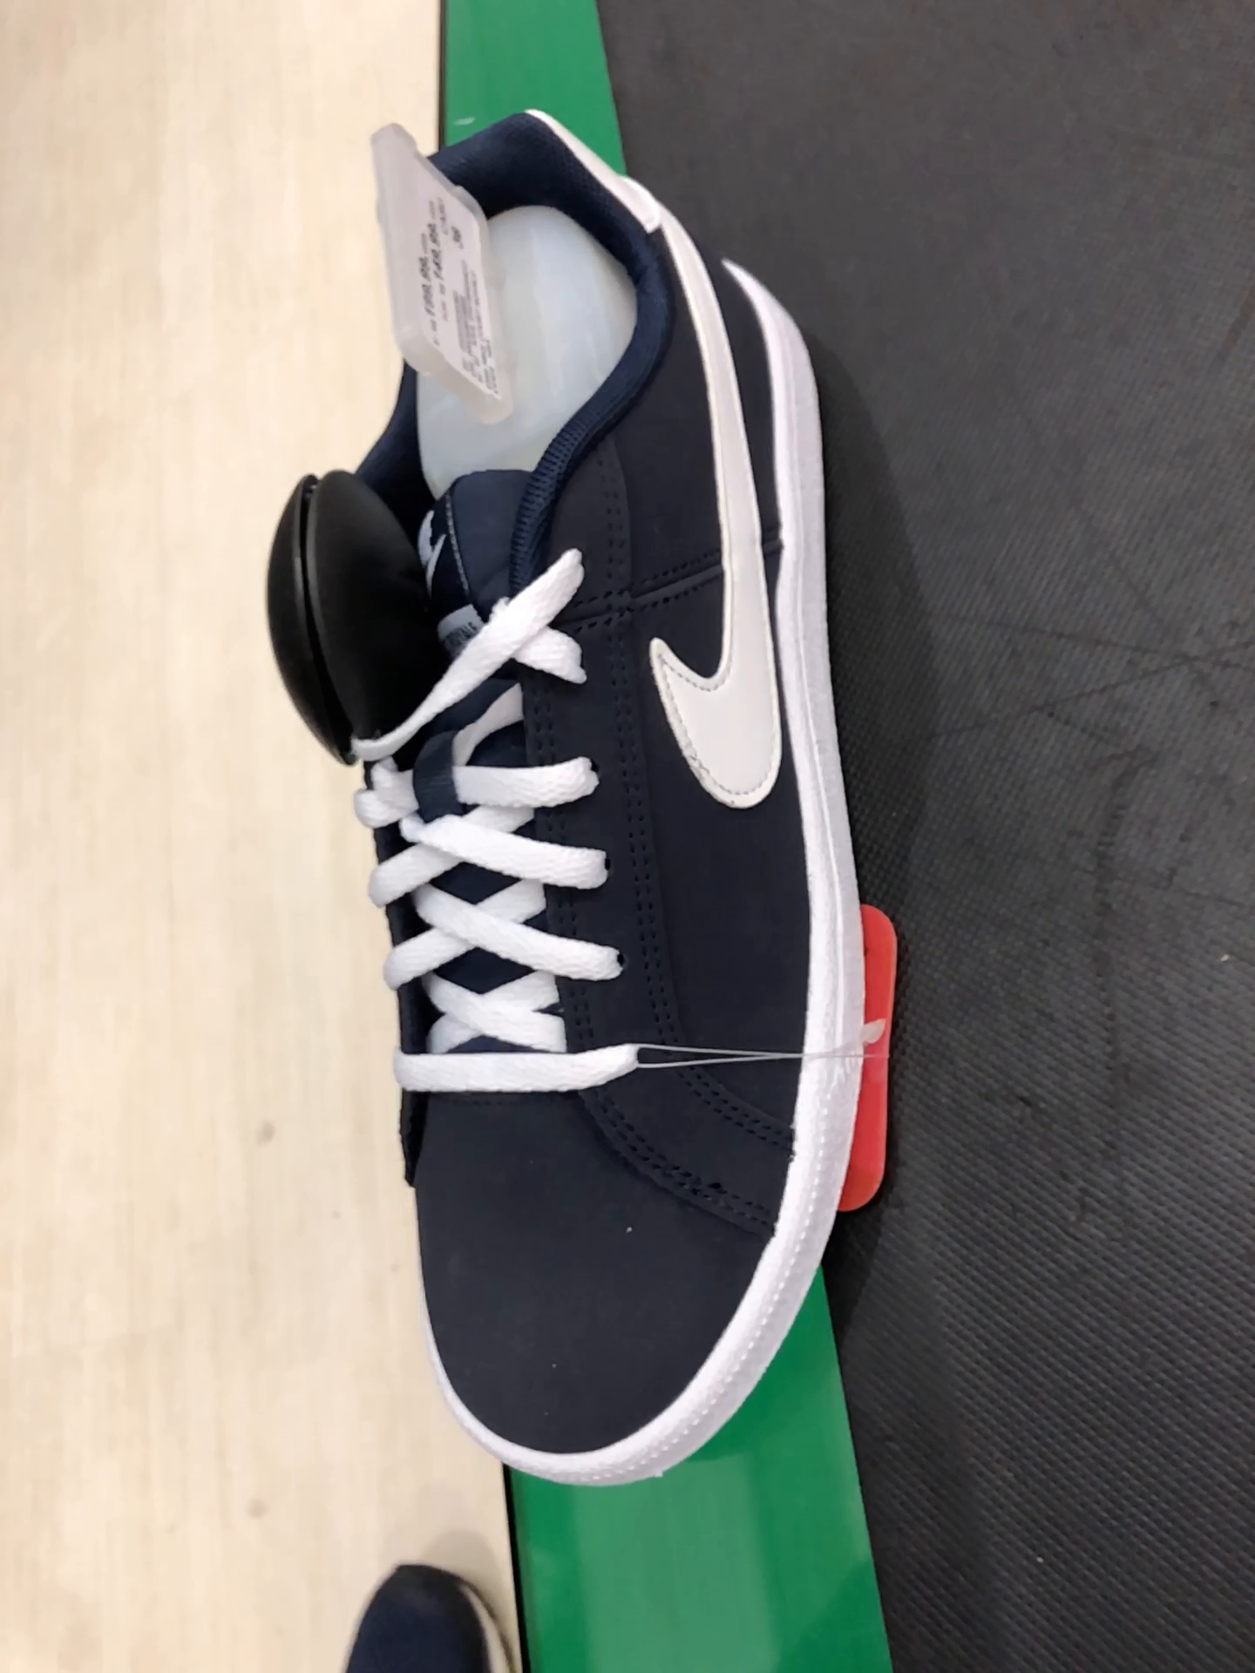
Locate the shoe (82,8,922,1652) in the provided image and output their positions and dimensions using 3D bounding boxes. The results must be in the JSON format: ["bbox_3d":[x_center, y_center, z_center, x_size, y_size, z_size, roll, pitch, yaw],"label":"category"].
[{"bbox_3d":[-0.013,-0.004,0.272,0.110,0.090,0.250,-5,74,32],"label":"shoe"}]
